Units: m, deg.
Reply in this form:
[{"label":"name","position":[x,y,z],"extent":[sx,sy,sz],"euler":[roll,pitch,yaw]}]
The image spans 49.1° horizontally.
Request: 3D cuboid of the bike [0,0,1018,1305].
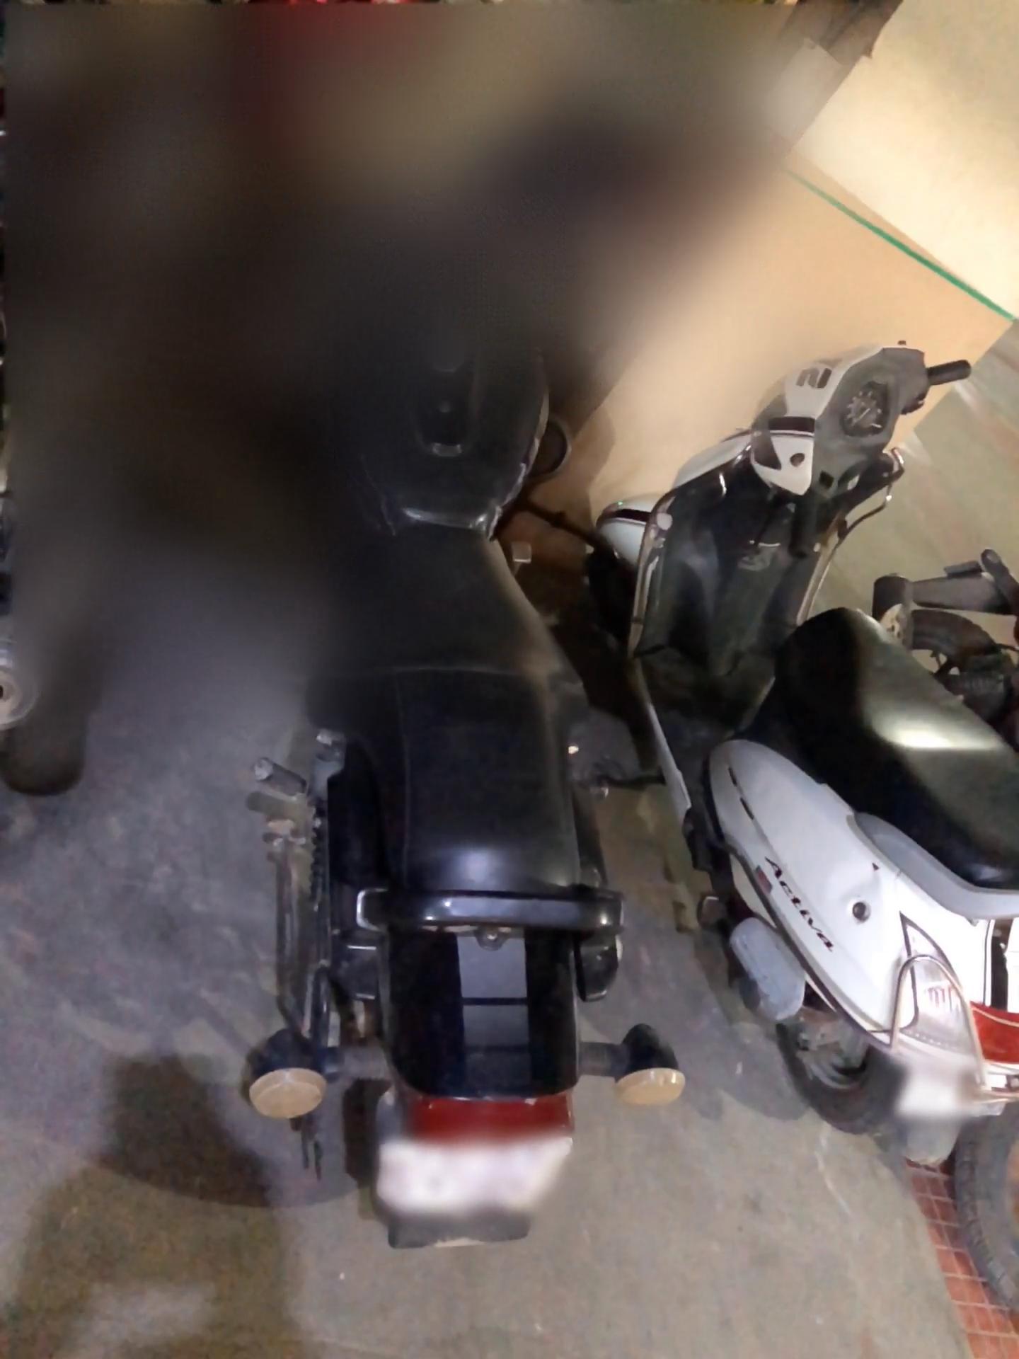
[{"label":"bike","position":[-0.233,-0.262,1.597],"extent":[0.864,1.251,1.674],"euler":[17,40,-31]}]
